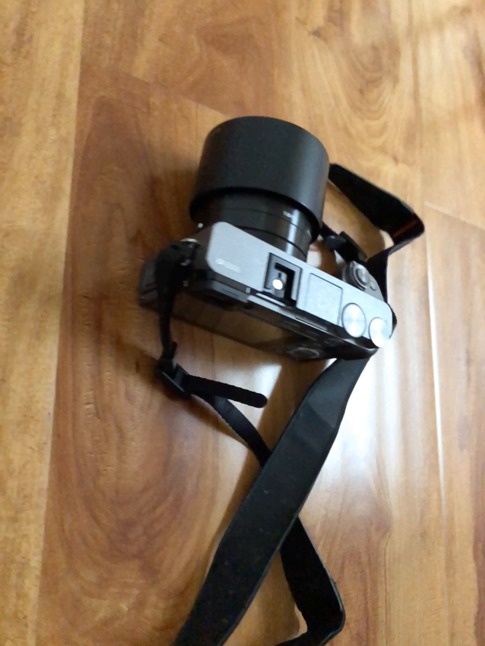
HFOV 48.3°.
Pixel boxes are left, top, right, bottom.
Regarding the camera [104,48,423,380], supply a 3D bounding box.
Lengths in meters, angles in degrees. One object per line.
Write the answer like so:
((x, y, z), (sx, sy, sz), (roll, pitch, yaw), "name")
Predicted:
((0.018, -0.043, 0.292), (0.141, 0.080, 0.110), (21, 68, -32), "camera")
